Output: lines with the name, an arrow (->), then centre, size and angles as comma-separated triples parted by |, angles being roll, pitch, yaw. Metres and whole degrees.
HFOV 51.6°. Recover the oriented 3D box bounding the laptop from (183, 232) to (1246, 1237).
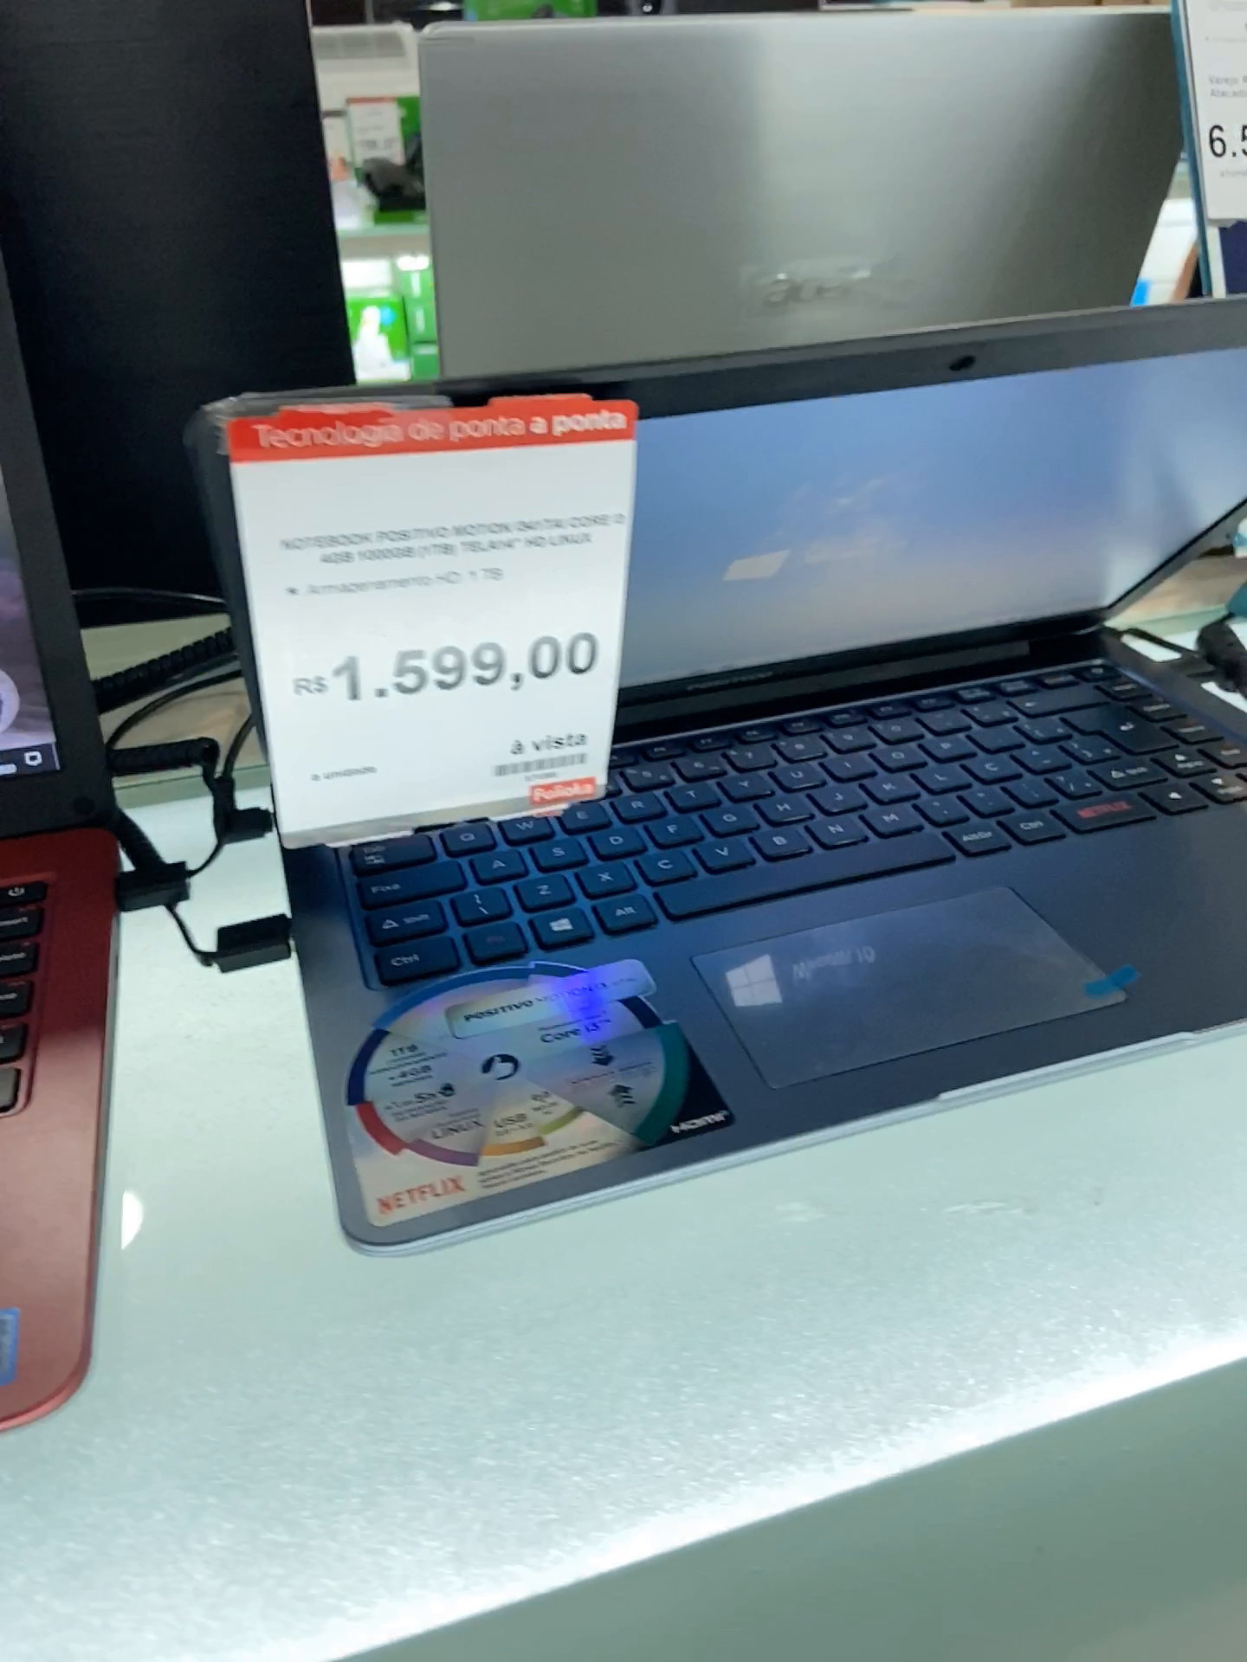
laptop -> 0.064, -0.061, 0.344 | 0.316, 0.145, 0.212 | -11, 31, -14
